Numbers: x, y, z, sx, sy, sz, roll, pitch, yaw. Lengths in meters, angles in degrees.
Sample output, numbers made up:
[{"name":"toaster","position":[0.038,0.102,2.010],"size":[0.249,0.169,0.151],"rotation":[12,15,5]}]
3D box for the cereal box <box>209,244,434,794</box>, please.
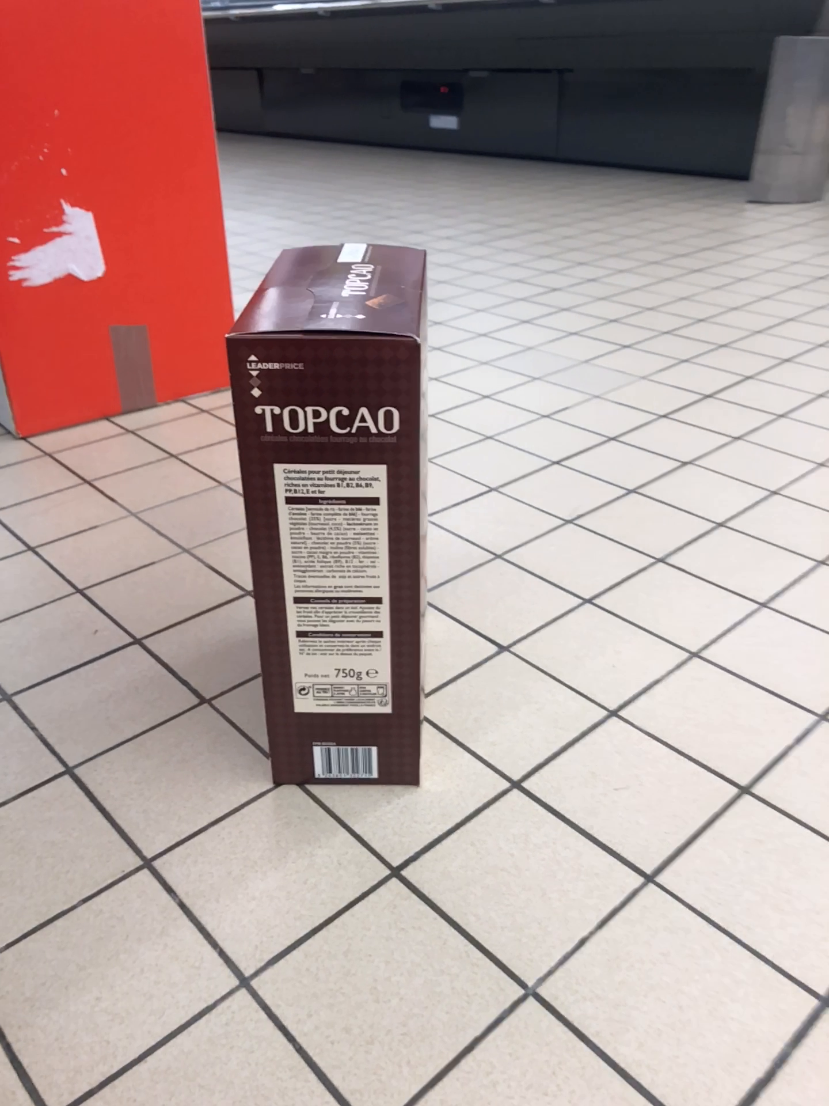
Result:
[{"name":"cereal box","position":[-0.040,-0.026,0.582],"size":[0.100,0.288,0.201],"rotation":[0,30,2]}]
